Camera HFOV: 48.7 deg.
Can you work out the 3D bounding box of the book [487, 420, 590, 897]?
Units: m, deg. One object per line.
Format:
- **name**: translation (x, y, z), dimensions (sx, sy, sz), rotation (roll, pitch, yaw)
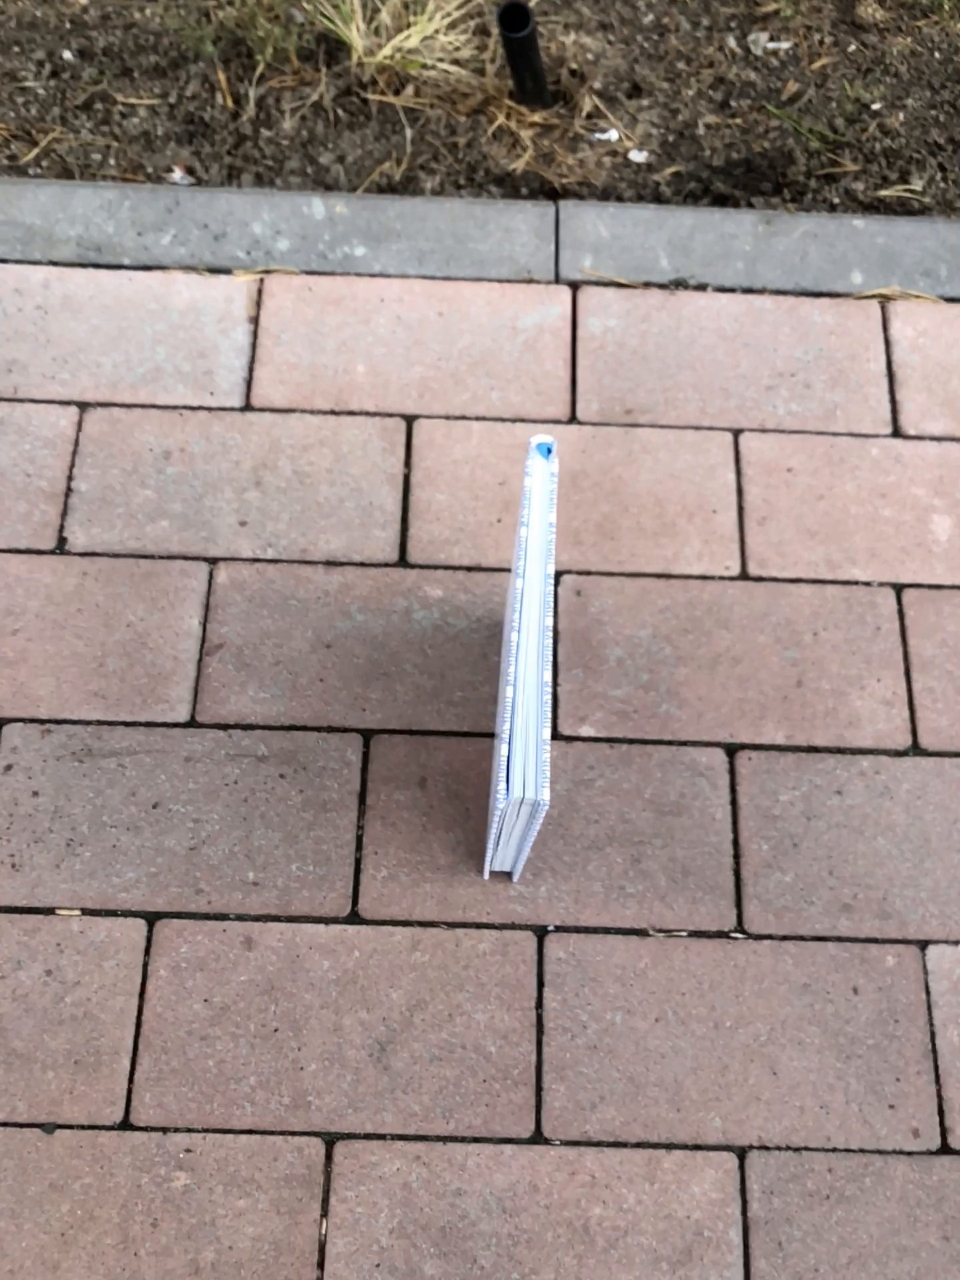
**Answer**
- **book**: translation (0.022, 0.023, 0.463), dimensions (0.022, 0.197, 0.151), rotation (4, 70, 0)
